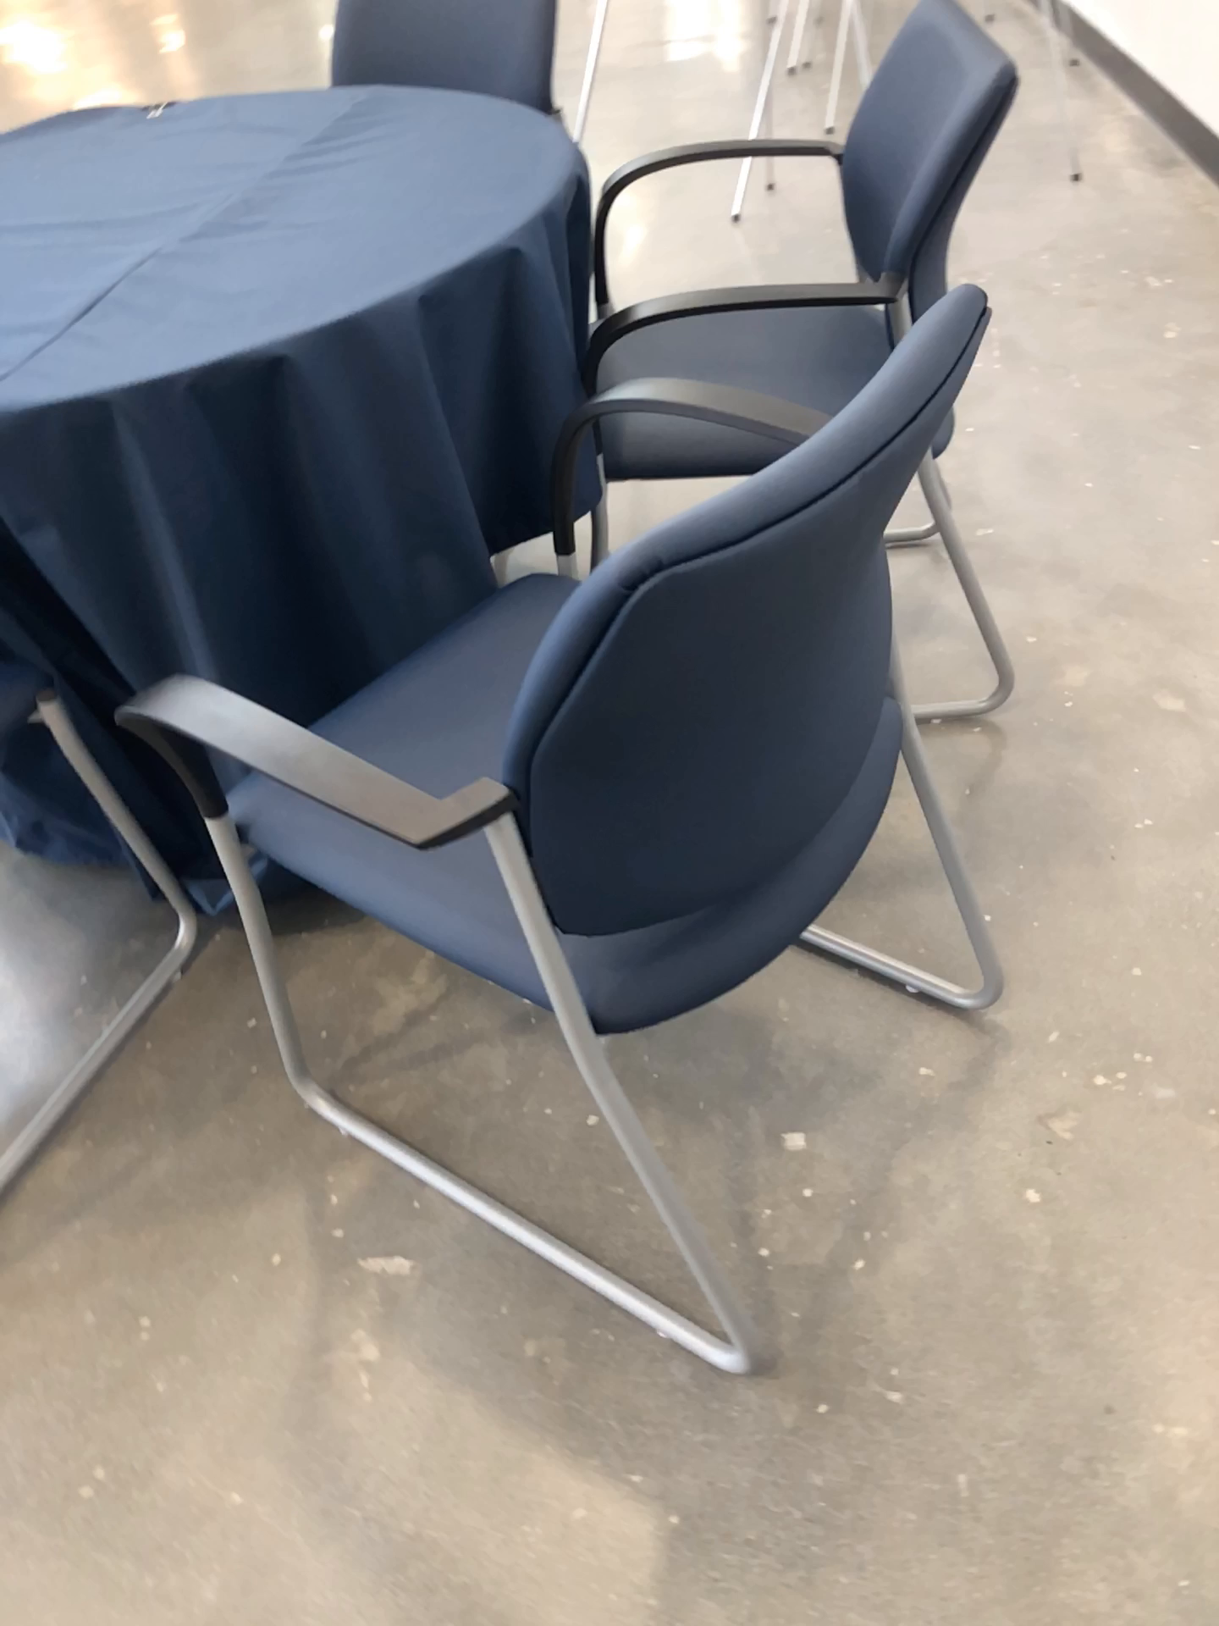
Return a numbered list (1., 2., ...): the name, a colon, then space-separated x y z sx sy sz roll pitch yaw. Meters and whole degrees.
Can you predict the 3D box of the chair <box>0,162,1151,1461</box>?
1. chair: -0.024 -0.053 1.190 0.672 0.765 0.642 22 49 31
